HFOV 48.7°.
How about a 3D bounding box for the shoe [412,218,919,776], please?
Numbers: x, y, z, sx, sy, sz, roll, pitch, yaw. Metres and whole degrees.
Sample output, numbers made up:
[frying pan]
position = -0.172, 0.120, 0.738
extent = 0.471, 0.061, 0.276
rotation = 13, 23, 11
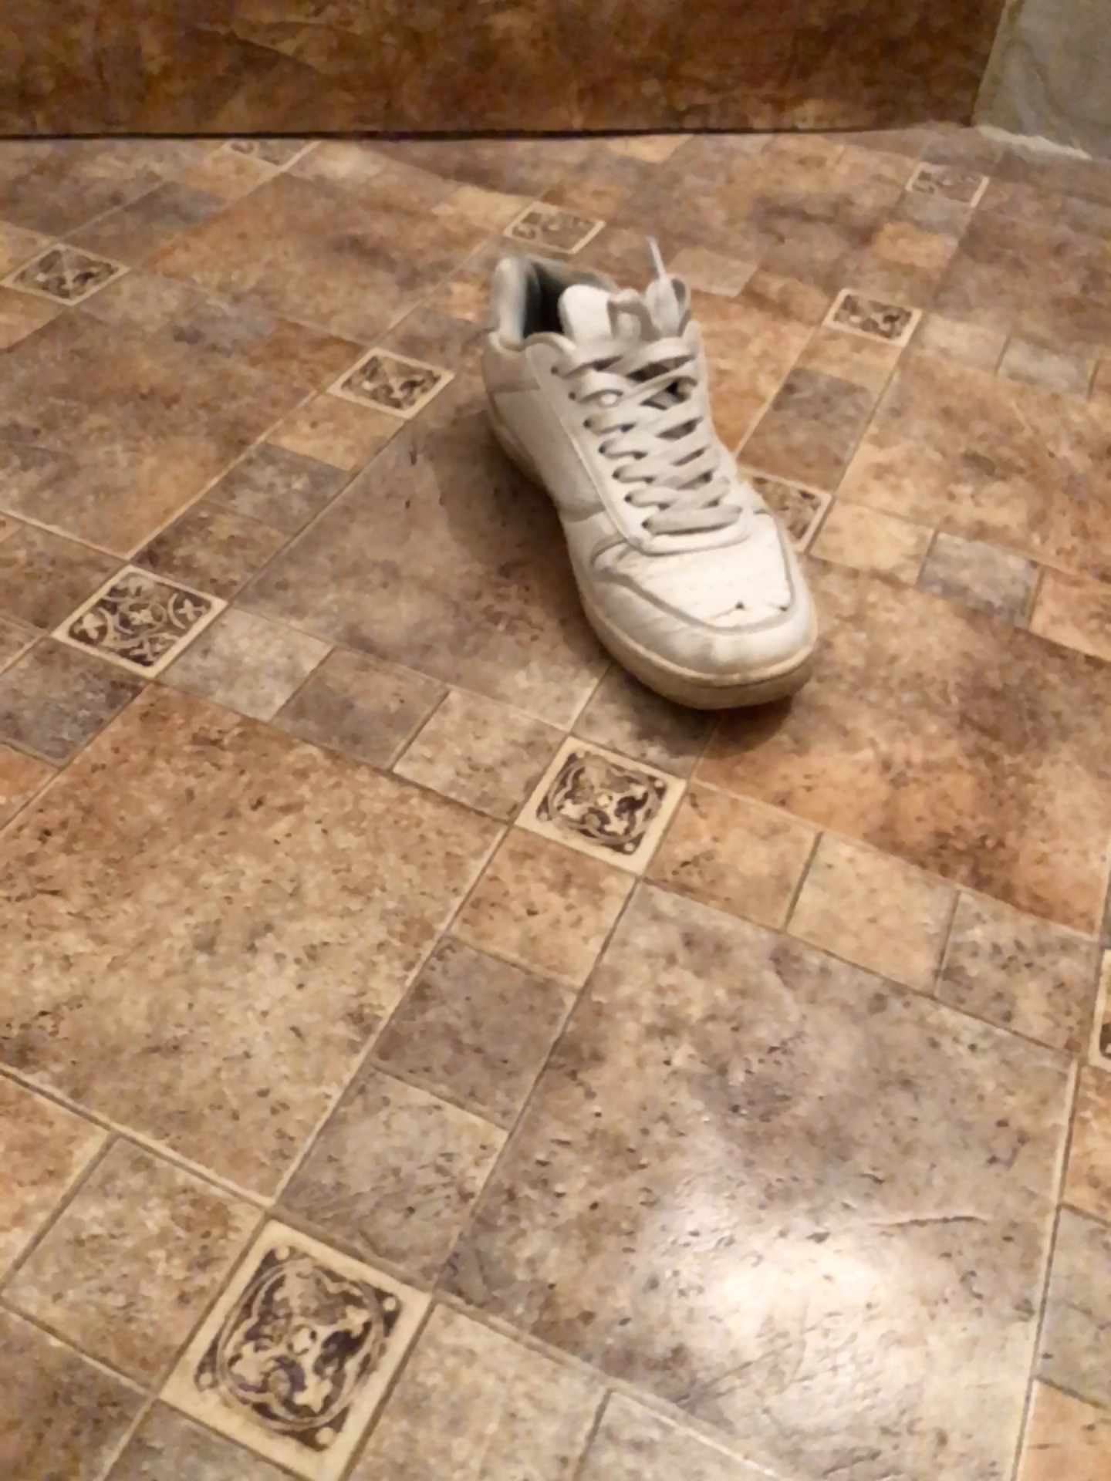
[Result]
[shoe]
position = 0.032, -0.133, 0.598
extent = 0.122, 0.109, 0.281
rotation = -14, 50, -18
